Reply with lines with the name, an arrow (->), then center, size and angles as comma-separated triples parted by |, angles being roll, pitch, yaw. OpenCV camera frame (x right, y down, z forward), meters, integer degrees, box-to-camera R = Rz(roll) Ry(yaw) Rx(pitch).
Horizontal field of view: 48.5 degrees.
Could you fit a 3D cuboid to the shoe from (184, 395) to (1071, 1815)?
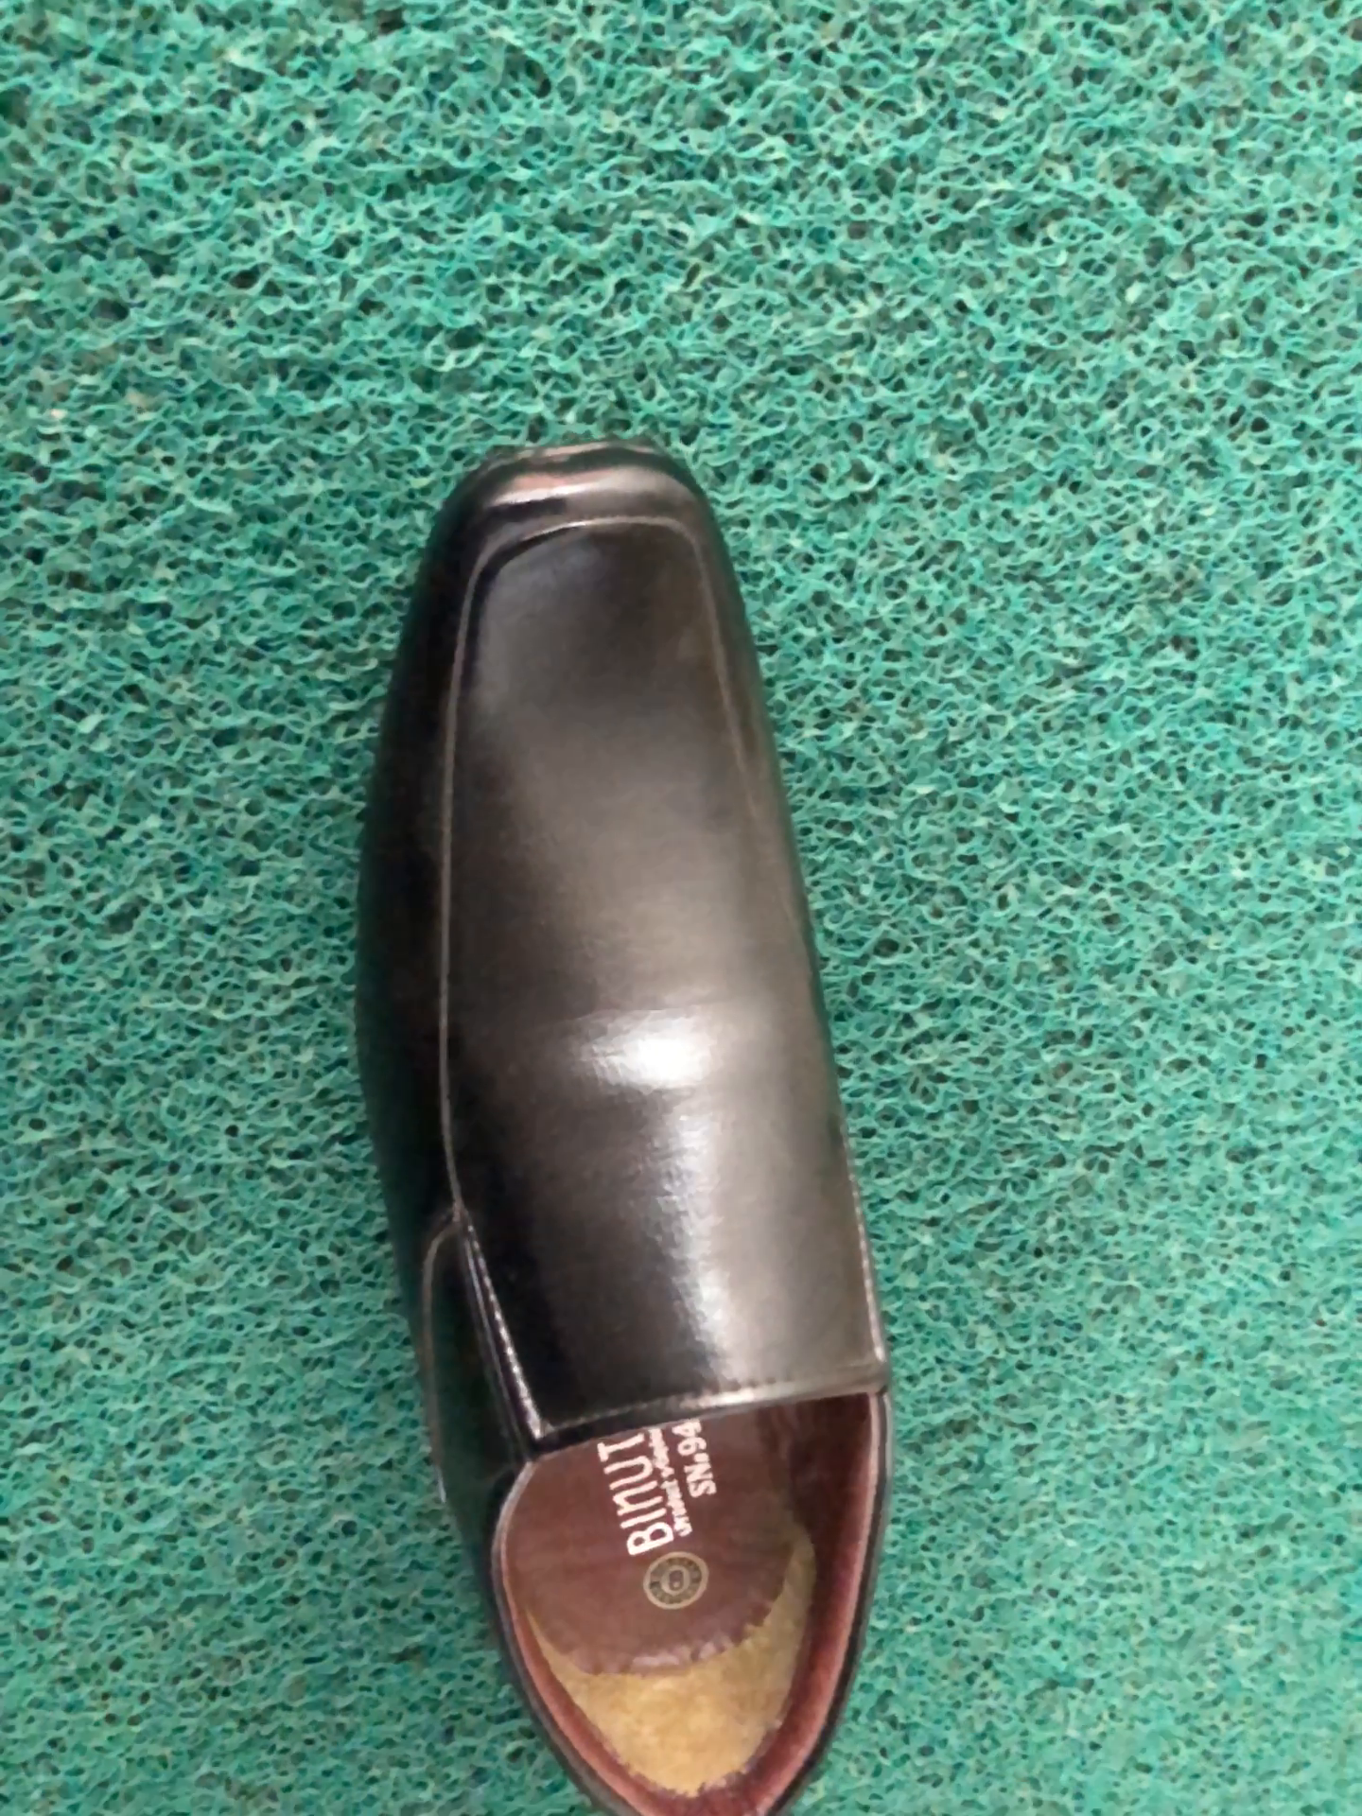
shoe -> -0.006, 0.048, 0.292 | 0.110, 0.130, 0.271 | -9, 110, -10
